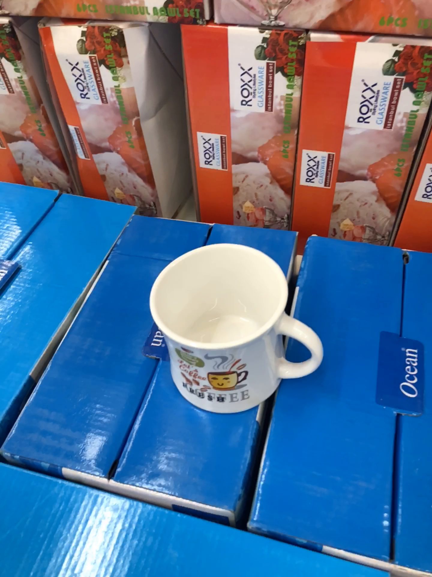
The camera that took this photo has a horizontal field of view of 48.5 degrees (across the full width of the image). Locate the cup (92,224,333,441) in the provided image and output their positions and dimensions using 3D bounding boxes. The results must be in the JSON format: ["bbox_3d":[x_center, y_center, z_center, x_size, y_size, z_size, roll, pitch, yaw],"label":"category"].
[{"bbox_3d":[0.003,0.022,0.256,0.100,0.070,0.070,10,52,12],"label":"cup"}]
